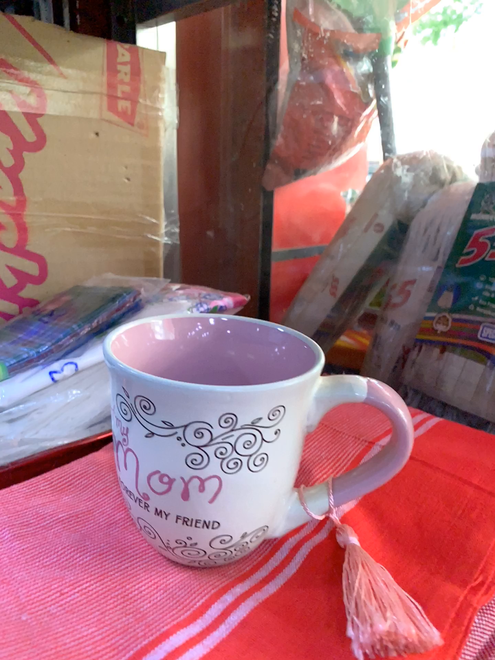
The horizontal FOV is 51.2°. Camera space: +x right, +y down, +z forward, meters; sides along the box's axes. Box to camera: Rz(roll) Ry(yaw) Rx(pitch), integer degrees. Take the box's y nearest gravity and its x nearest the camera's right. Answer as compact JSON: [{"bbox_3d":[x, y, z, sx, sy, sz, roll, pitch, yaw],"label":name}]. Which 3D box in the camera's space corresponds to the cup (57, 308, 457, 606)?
[{"bbox_3d":[0.004,0.043,0.224,0.130,0.080,0.094,3,16,5],"label":"cup"}]
